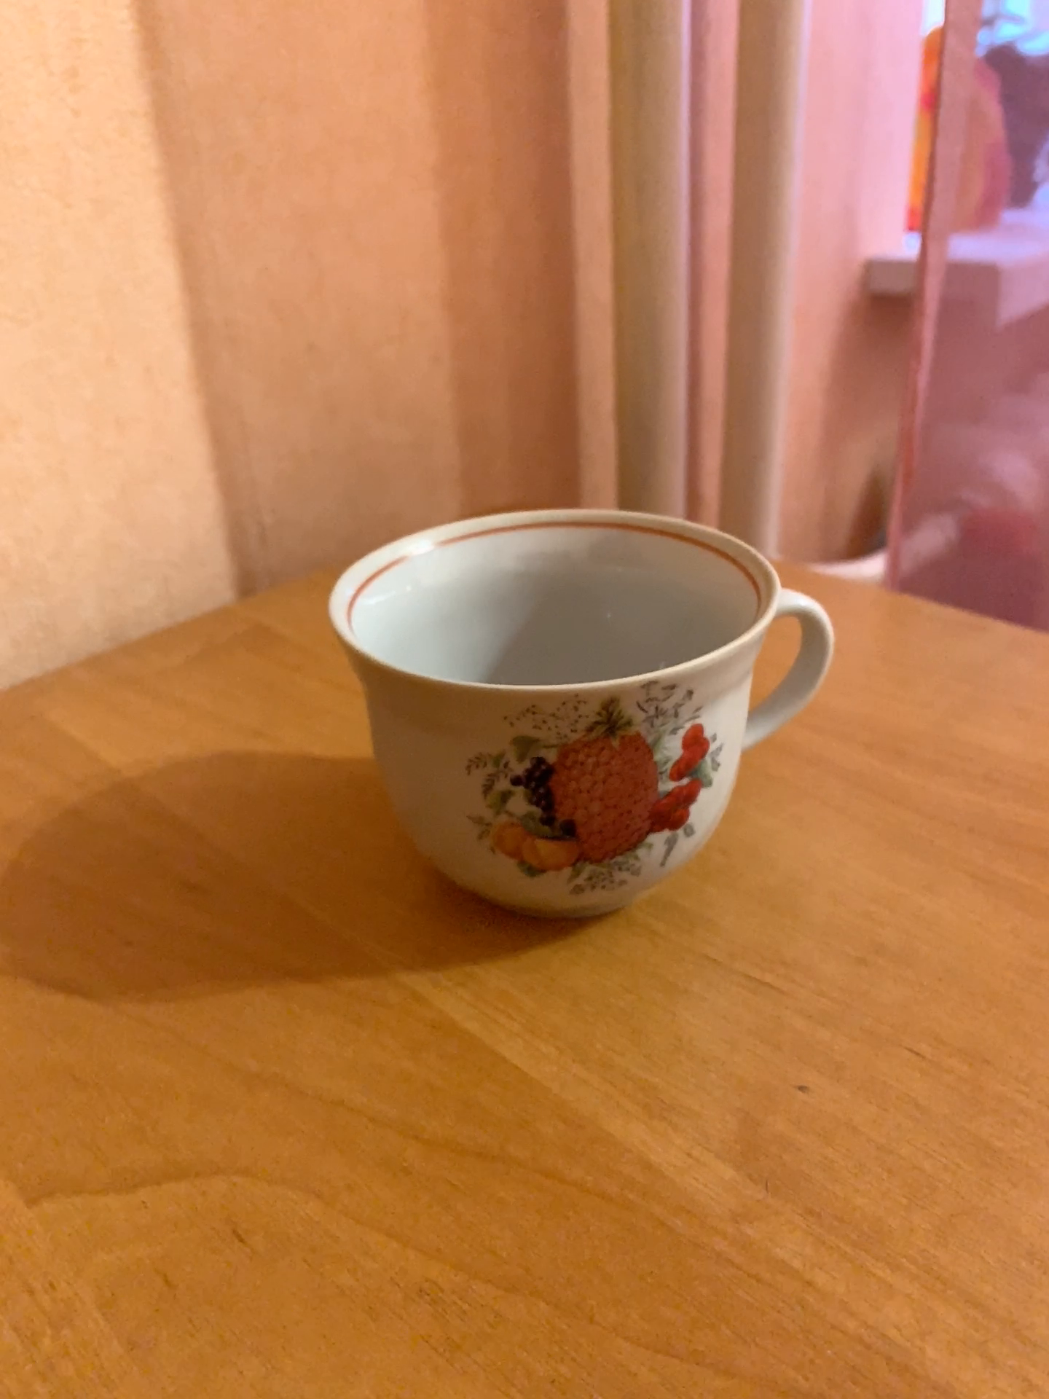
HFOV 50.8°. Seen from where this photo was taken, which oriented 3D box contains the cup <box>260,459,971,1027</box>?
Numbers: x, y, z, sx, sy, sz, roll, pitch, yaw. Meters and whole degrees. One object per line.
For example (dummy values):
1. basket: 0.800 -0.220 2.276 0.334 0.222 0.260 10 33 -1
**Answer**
1. cup: 0.016 -0.002 0.225 0.109 0.056 0.083 -19 32 -25
